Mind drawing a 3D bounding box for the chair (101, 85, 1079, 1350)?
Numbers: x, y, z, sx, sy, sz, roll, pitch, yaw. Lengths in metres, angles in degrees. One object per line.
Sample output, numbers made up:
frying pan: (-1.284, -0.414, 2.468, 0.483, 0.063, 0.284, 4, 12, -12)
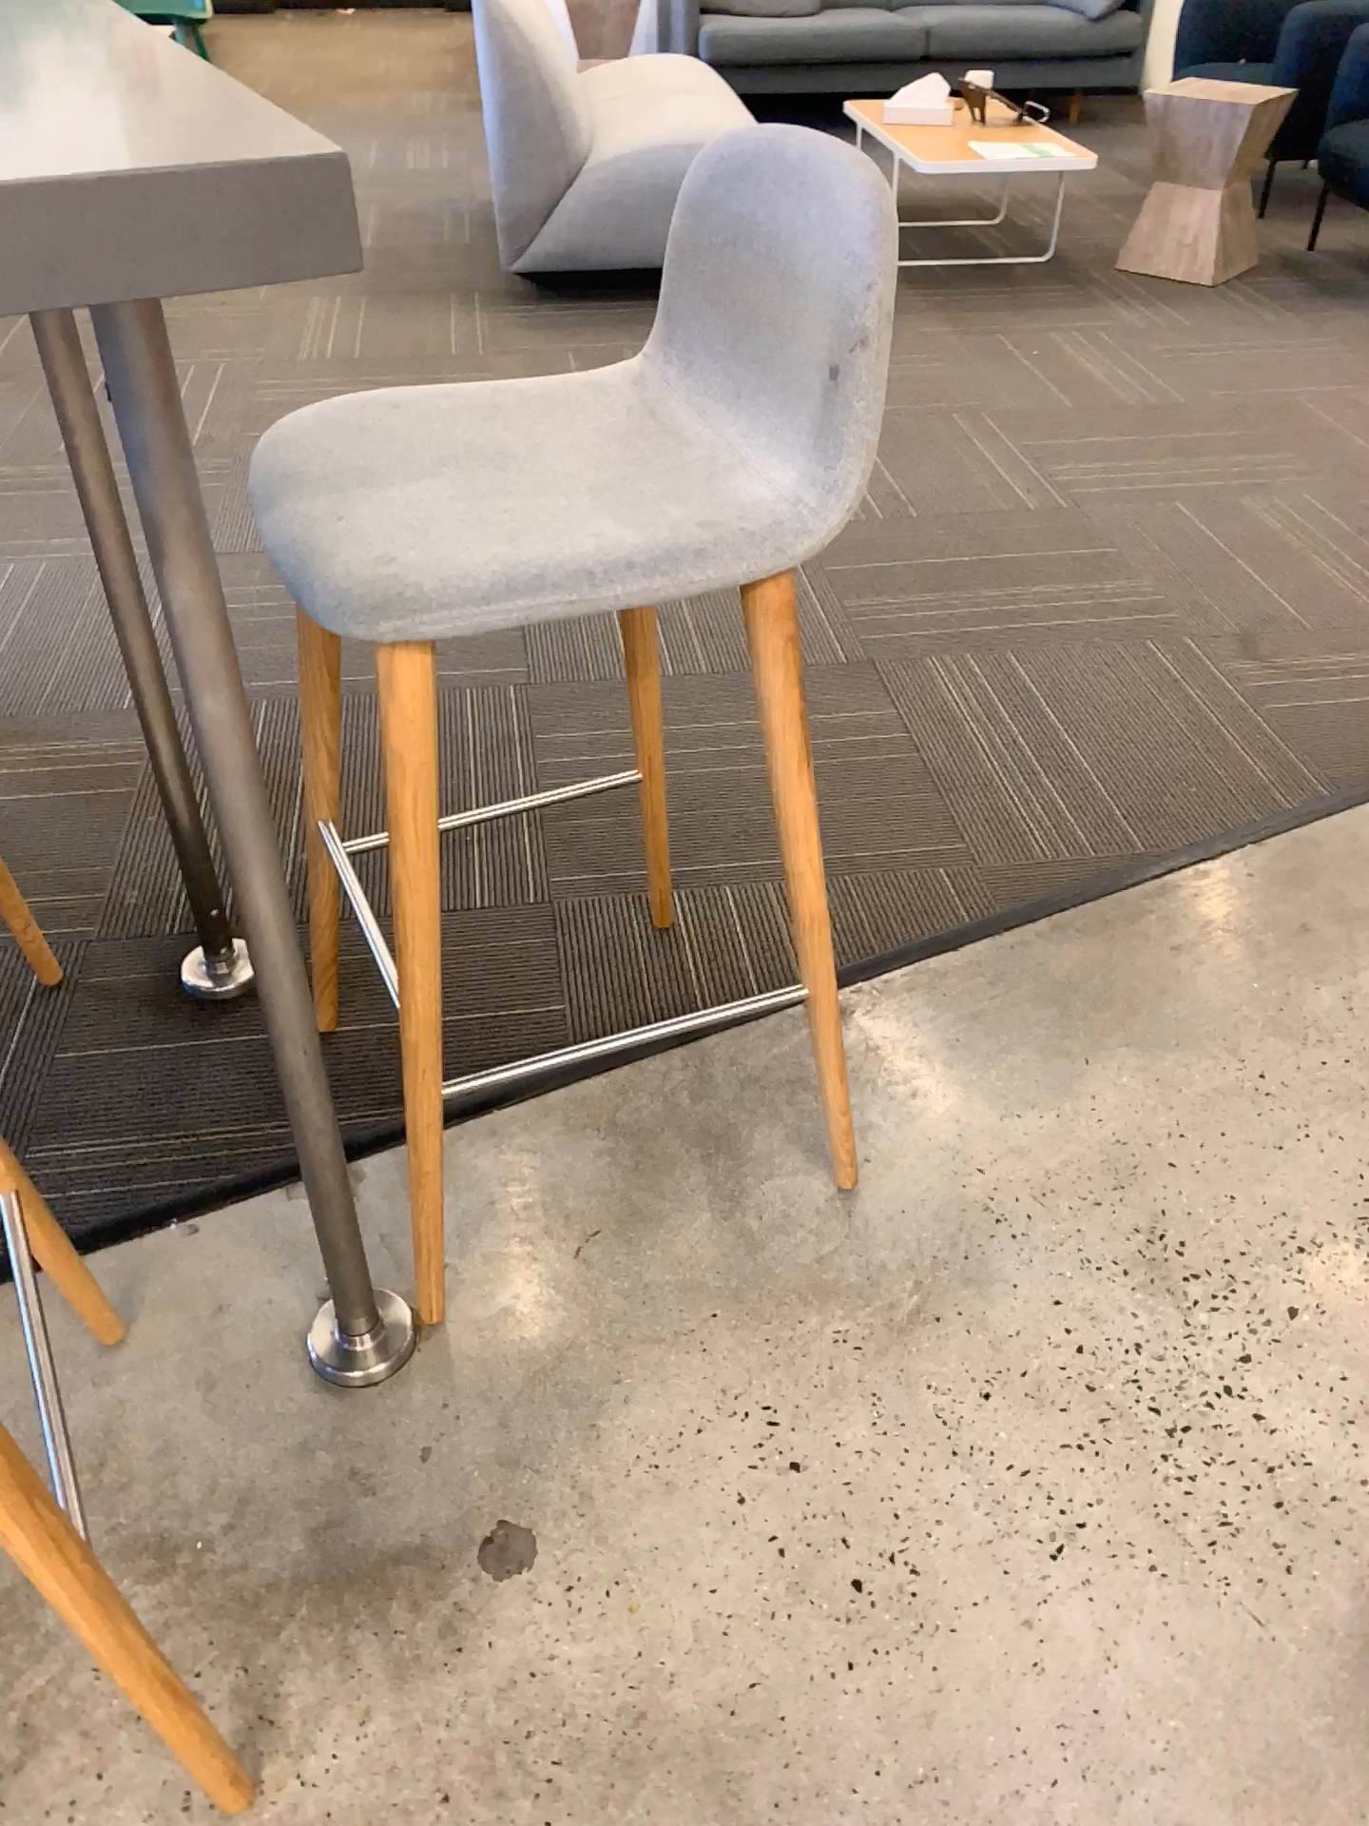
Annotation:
chair: (-0.119, -0.191, 1.318, 0.550, 0.924, 0.593, -15, 41, -19)
